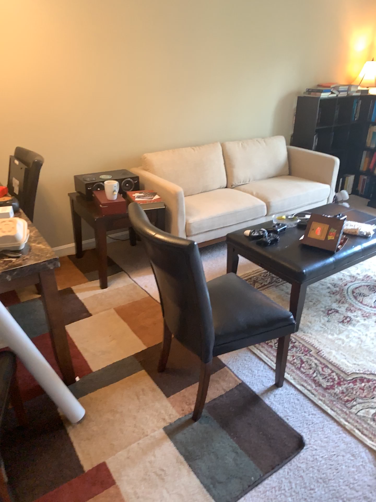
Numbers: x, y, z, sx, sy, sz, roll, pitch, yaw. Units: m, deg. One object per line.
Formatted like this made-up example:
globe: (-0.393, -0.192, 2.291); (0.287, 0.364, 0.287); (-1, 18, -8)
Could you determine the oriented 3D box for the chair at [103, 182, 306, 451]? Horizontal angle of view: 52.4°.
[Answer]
chair: (0.056, 0.245, 1.728); (0.651, 0.915, 0.492); (-16, 30, -30)
